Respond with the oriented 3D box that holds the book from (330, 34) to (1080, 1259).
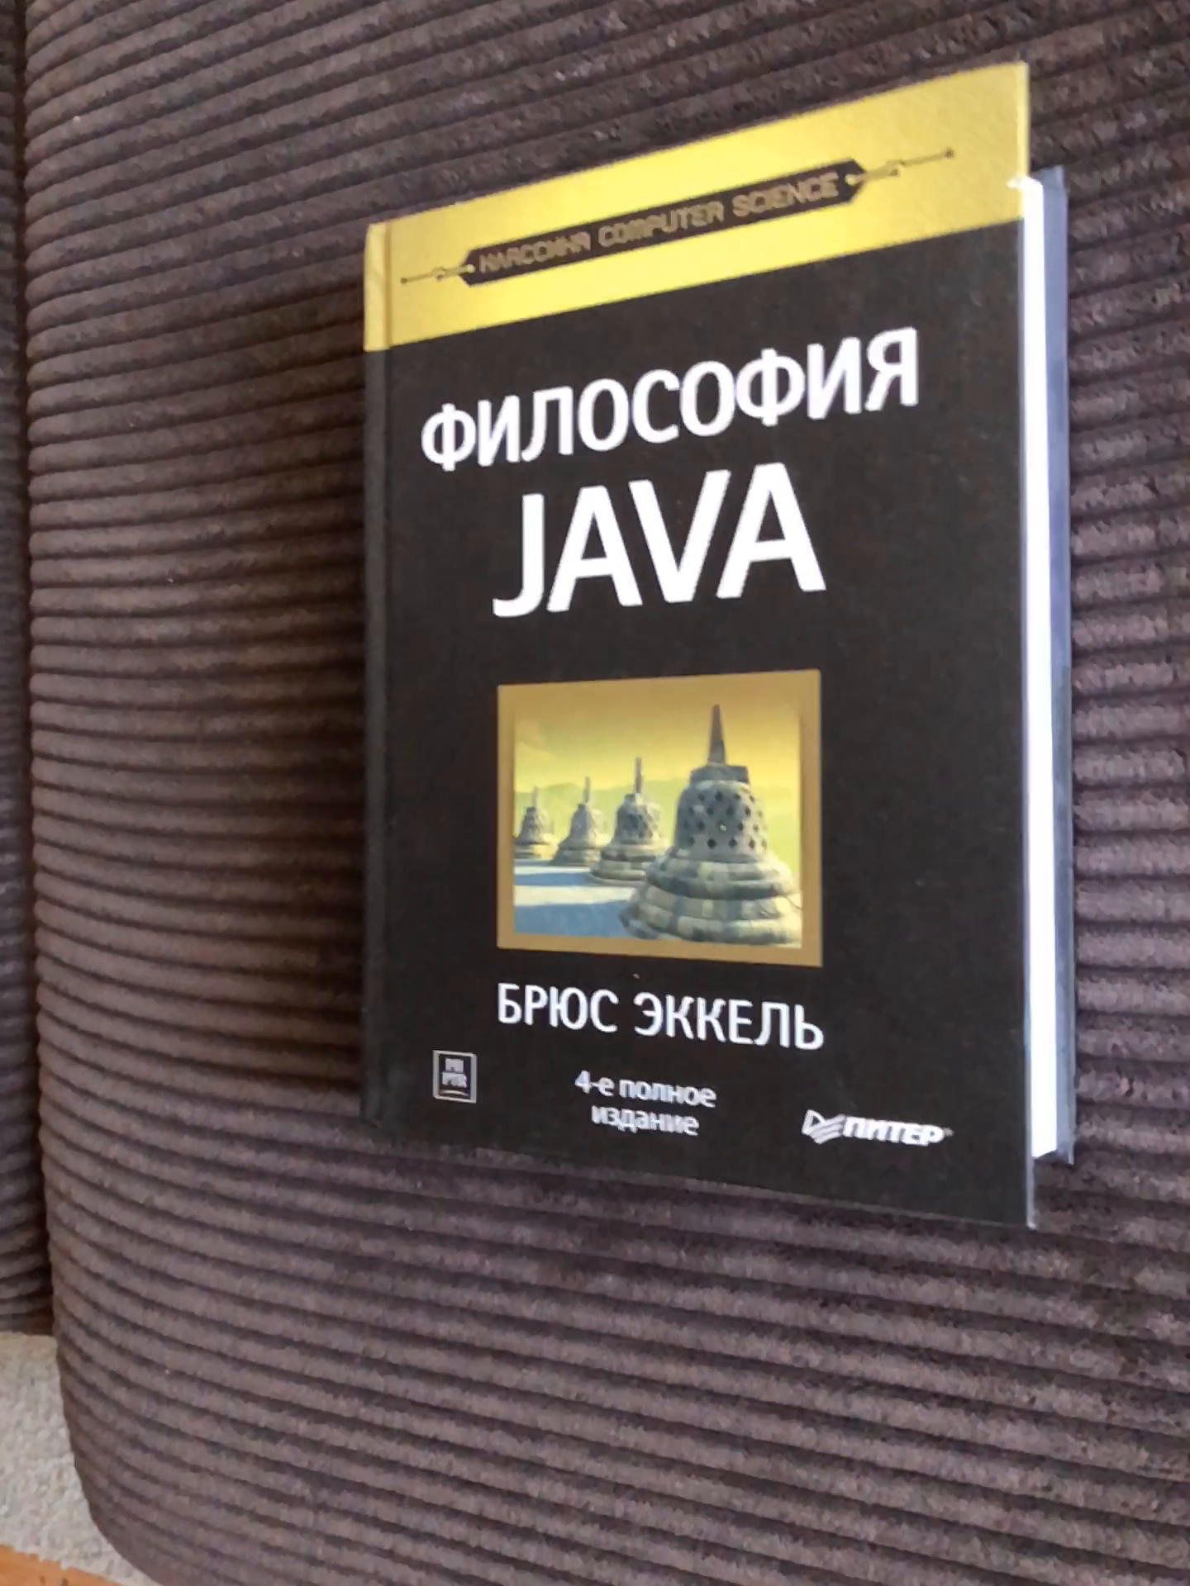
[{"bbox_3d":[0.023,-0.028,0.322,0.171,0.060,0.239,-1,89,27],"label":"book"}]
